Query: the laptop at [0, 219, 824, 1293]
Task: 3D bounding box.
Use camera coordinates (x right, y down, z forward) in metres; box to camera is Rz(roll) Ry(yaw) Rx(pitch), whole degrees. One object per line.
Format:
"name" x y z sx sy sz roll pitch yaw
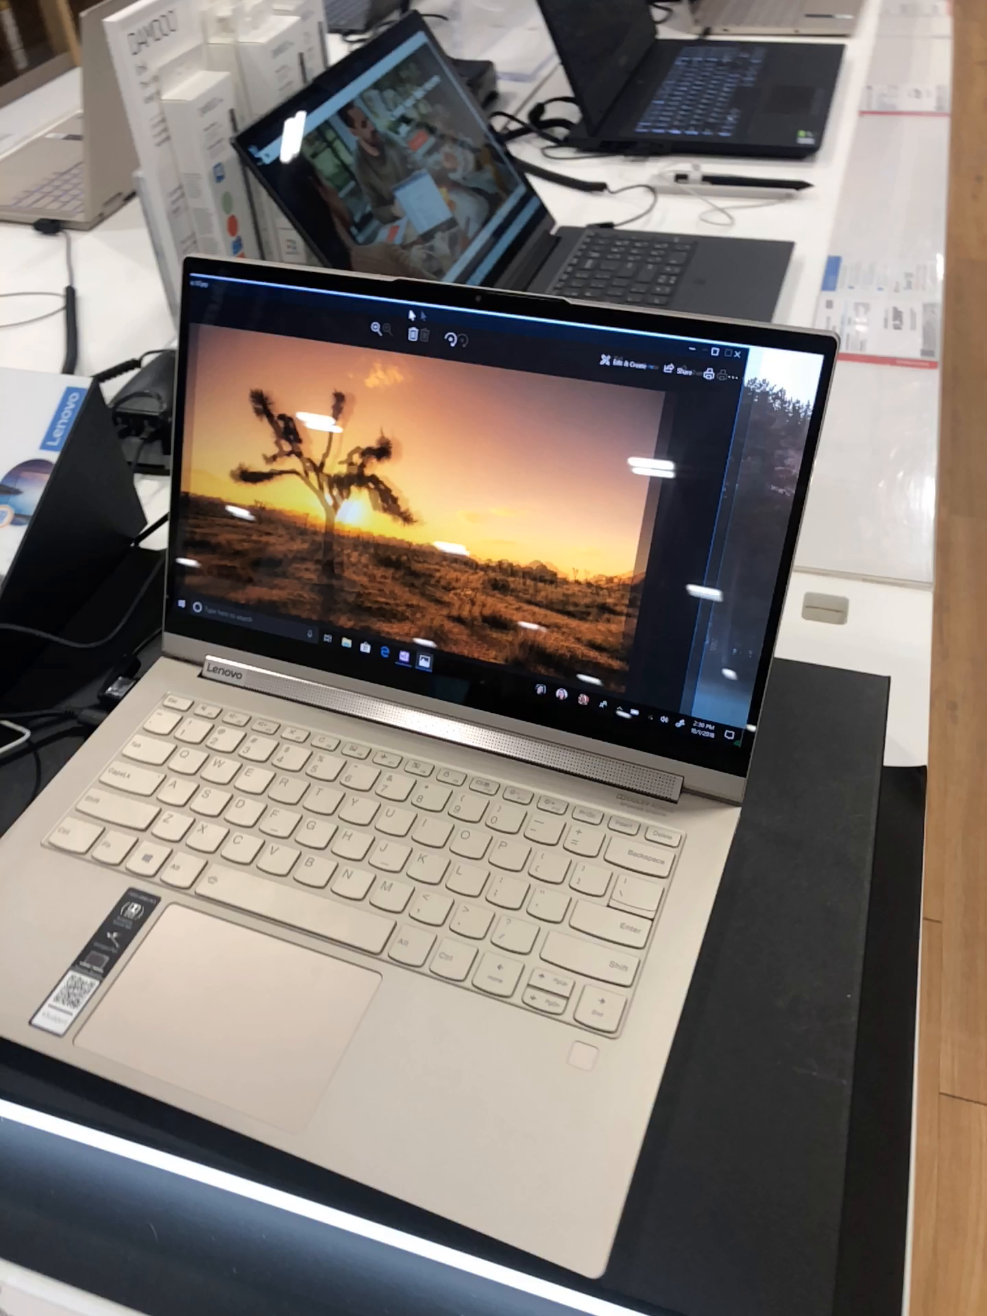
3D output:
"laptop" -0.066 -0.007 0.455 0.320 0.170 0.327 14 49 19
